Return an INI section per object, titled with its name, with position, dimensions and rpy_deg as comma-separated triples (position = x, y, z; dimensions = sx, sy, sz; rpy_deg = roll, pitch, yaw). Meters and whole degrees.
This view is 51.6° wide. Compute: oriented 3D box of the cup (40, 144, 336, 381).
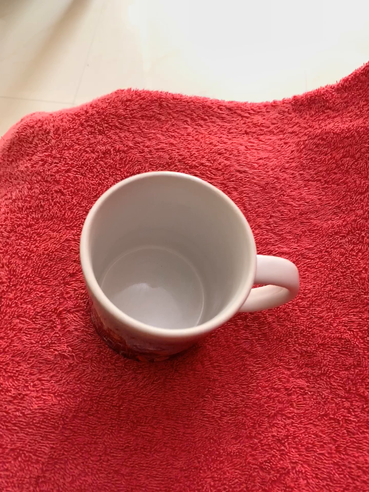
[cup]
position = 0.003, 0.018, 0.210
dimensions = 0.120, 0.090, 0.090
rpy_deg = 9, 70, -5
